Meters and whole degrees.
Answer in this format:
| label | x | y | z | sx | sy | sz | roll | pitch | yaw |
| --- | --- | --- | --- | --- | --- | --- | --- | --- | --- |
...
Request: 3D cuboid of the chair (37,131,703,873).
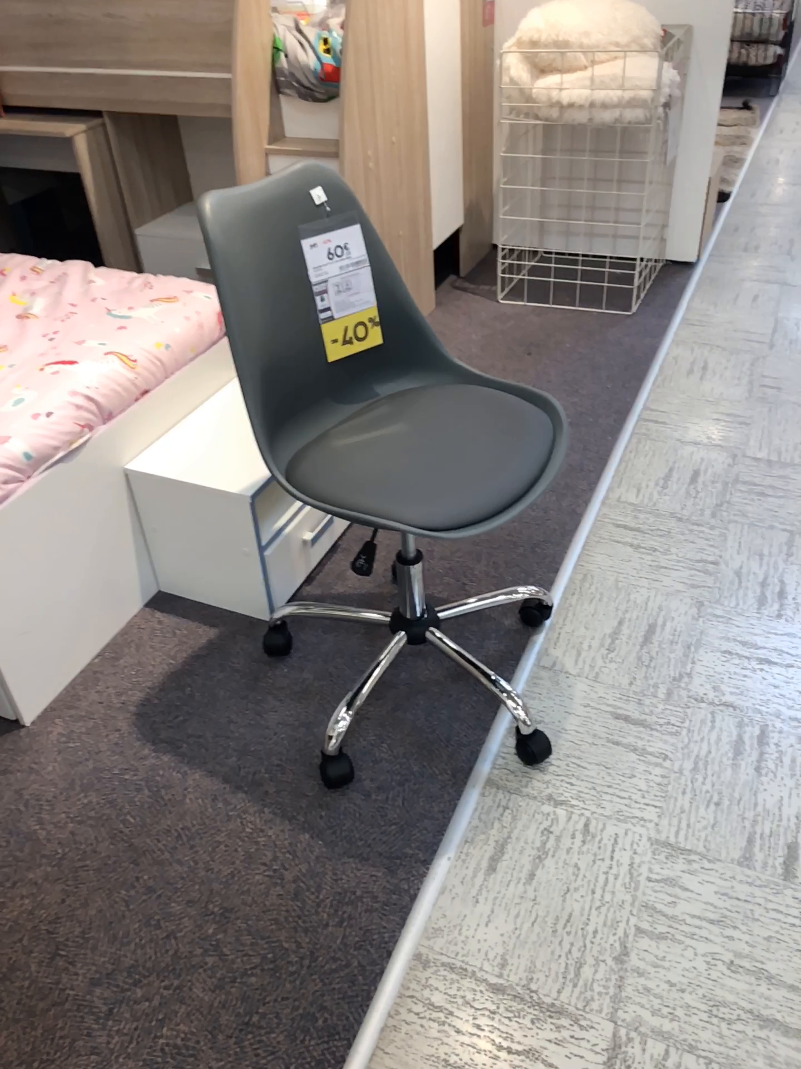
| label | x | y | z | sx | sy | sz | roll | pitch | yaw |
| --- | --- | --- | --- | --- | --- | --- | --- | --- | --- |
| chair | -0.003 | -0.092 | 1.382 | 0.630 | 0.835 | 0.604 | 21 | 43 | 30 |
